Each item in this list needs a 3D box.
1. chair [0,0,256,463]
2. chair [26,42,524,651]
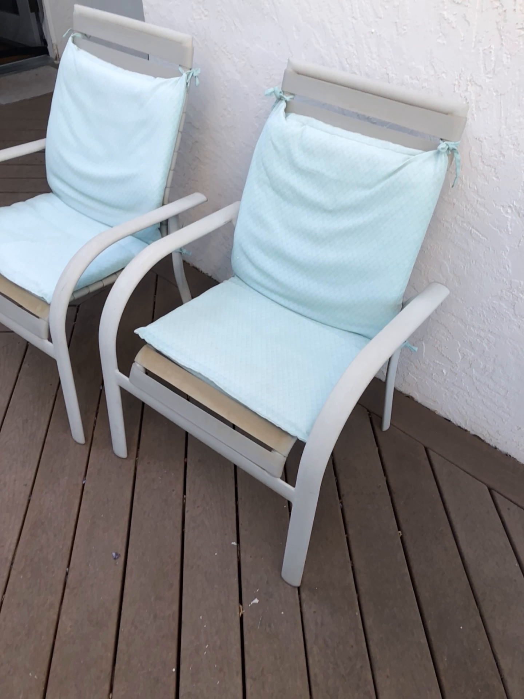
[{"bbox_3d":[-0.542,-0.383,1.719,0.701,0.965,0.783,29,50,26],"label":"chair"},{"bbox_3d":[0.109,-0.011,1.659,0.842,1.273,0.873,29,50,26],"label":"chair"}]
